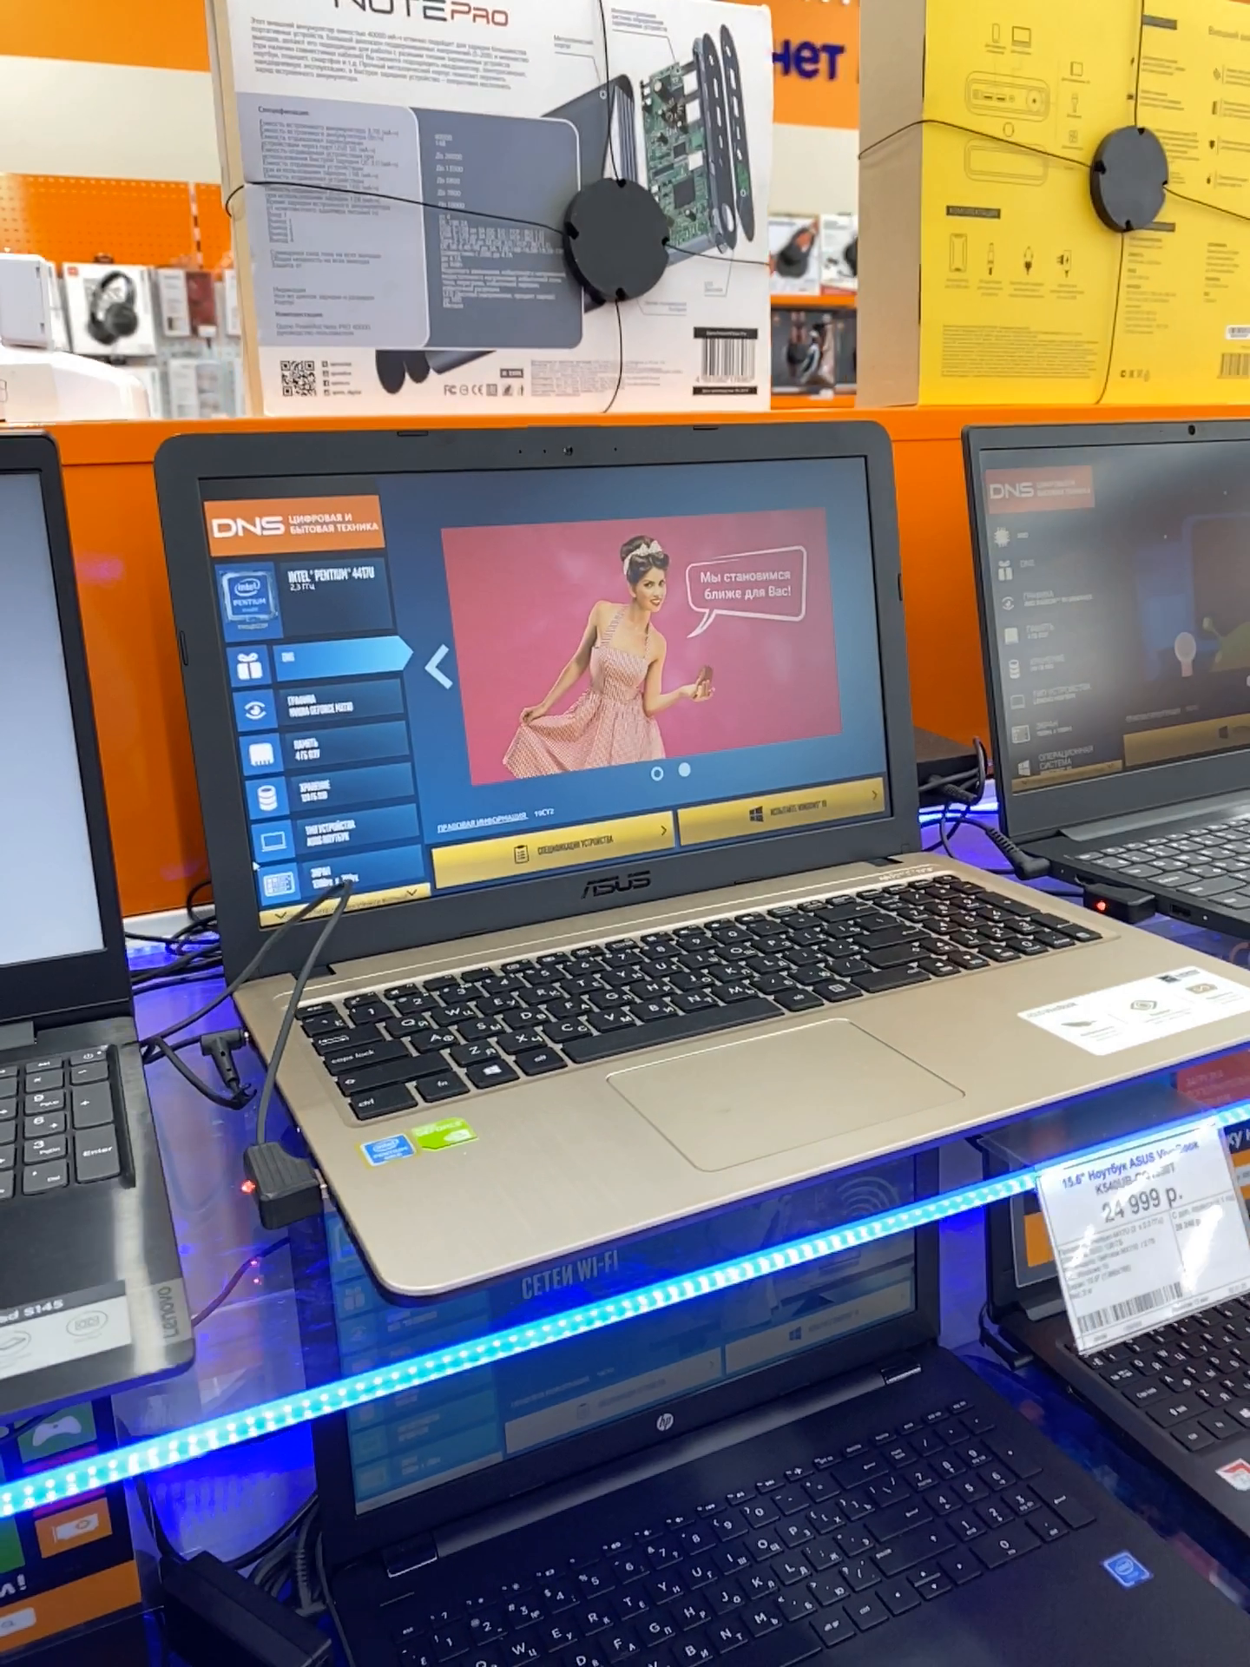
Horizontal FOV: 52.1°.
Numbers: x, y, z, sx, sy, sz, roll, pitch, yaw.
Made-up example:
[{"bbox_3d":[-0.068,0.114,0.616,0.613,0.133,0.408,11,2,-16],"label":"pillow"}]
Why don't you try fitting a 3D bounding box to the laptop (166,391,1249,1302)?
[{"bbox_3d":[0.042,-0.047,0.519,0.376,0.230,0.294,-9,16,-24],"label":"laptop"}]
